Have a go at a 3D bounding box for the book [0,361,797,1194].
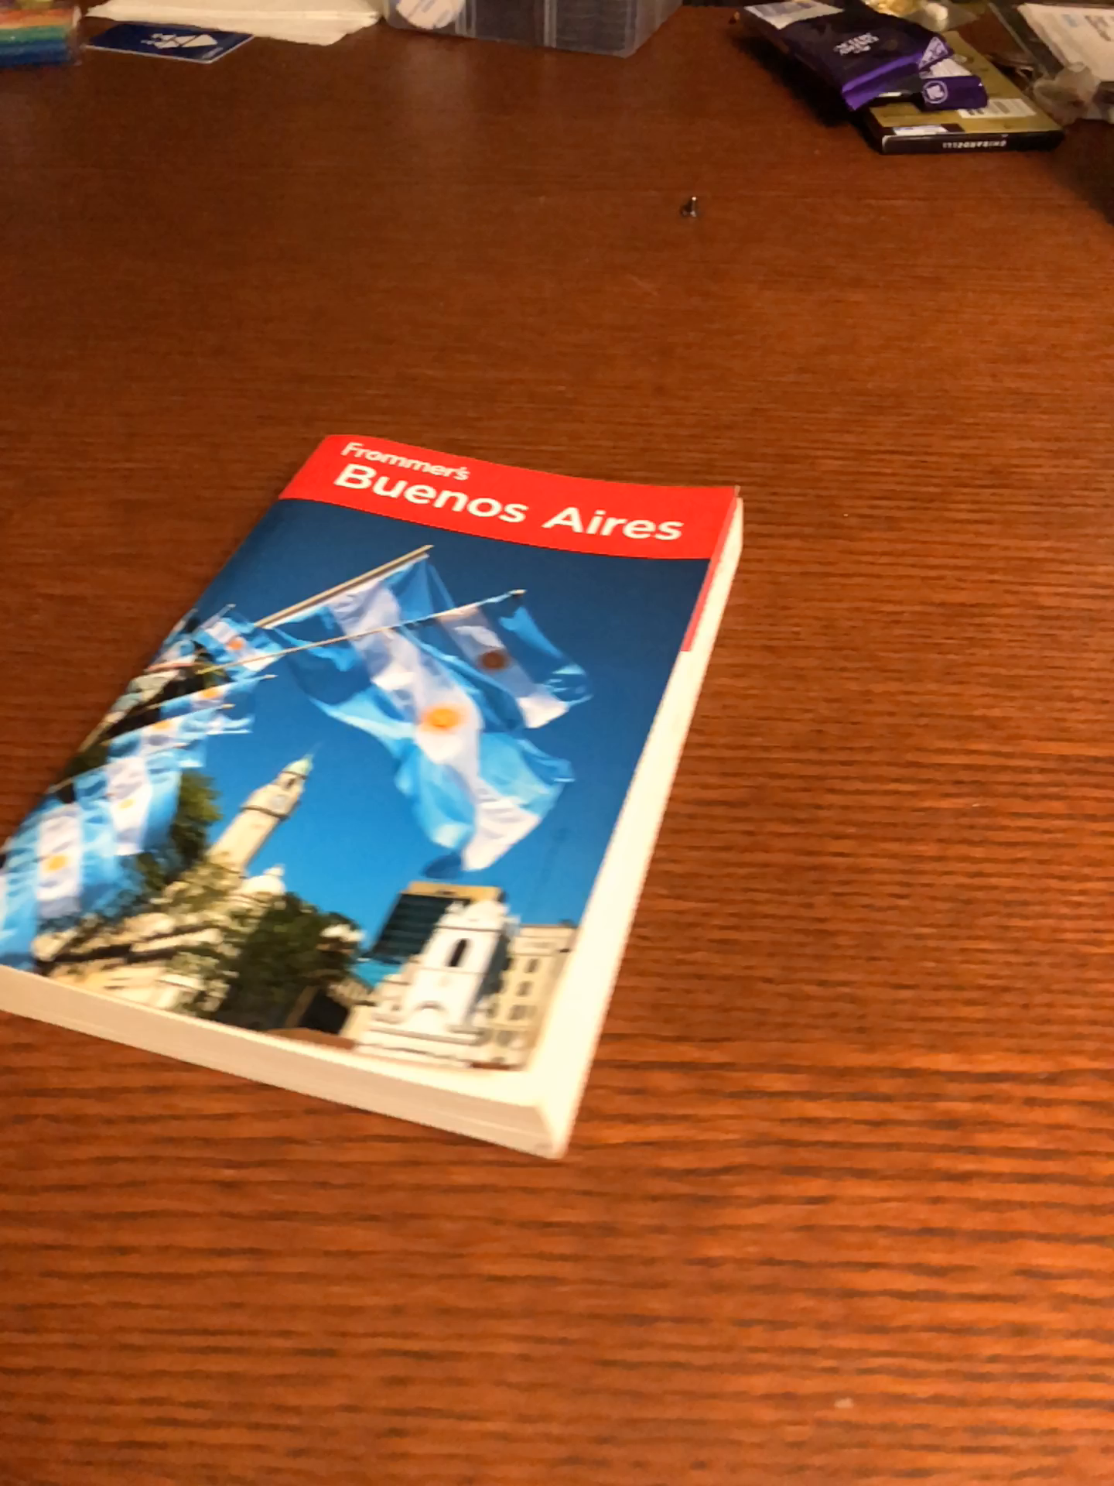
[{"bbox_3d":[-0.037,-0.020,0.292,0.160,0.020,0.221,10,45,10],"label":"book"}]
